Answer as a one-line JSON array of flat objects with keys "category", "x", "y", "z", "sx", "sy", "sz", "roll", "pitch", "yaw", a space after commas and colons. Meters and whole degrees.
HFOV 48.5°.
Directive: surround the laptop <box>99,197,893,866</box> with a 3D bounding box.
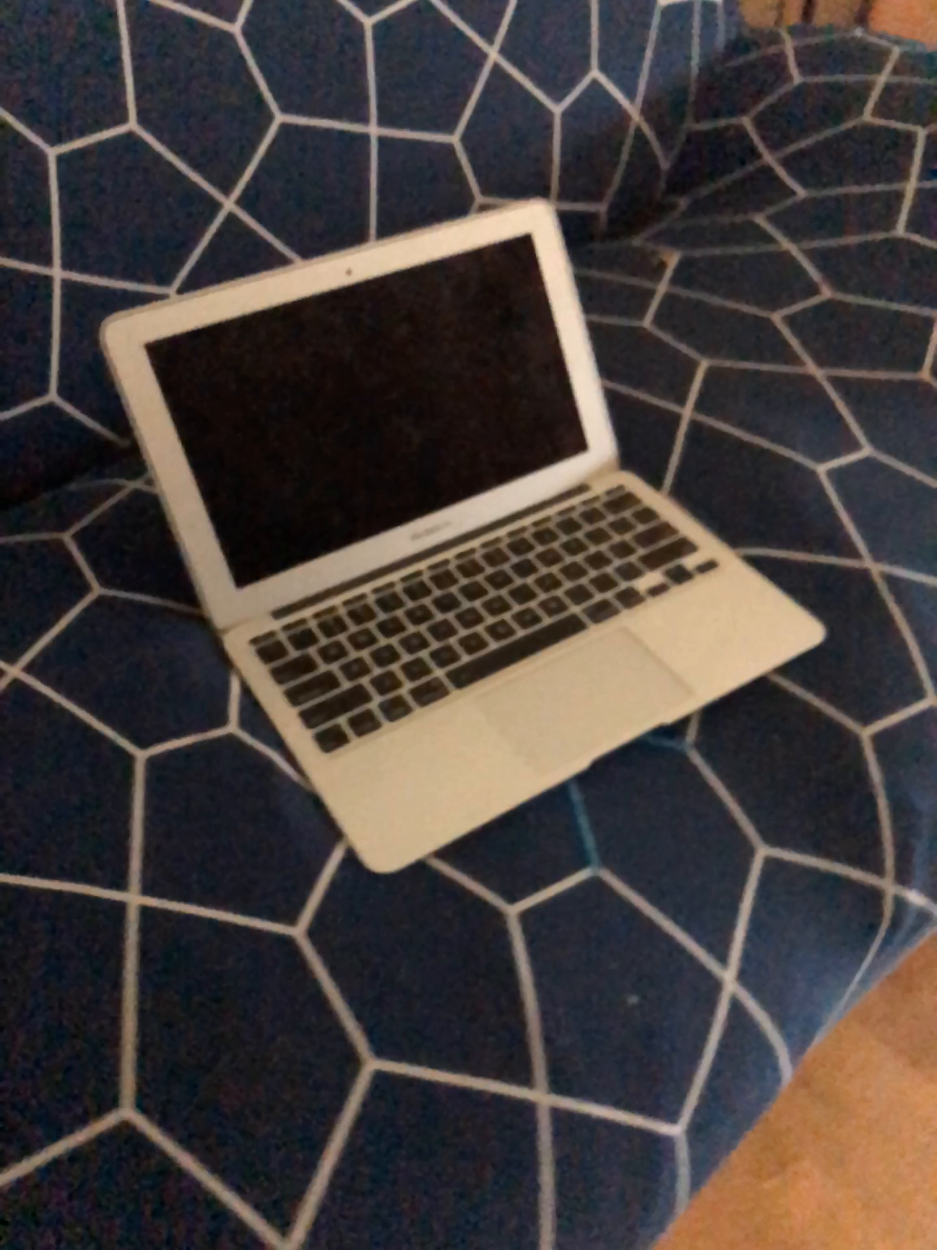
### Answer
[{"category": "laptop", "x": 0.005, "y": -0.080, "z": 0.566, "sx": 0.281, "sy": 0.156, "sz": 0.280, "roll": -24, "pitch": 48, "yaw": -24}]
